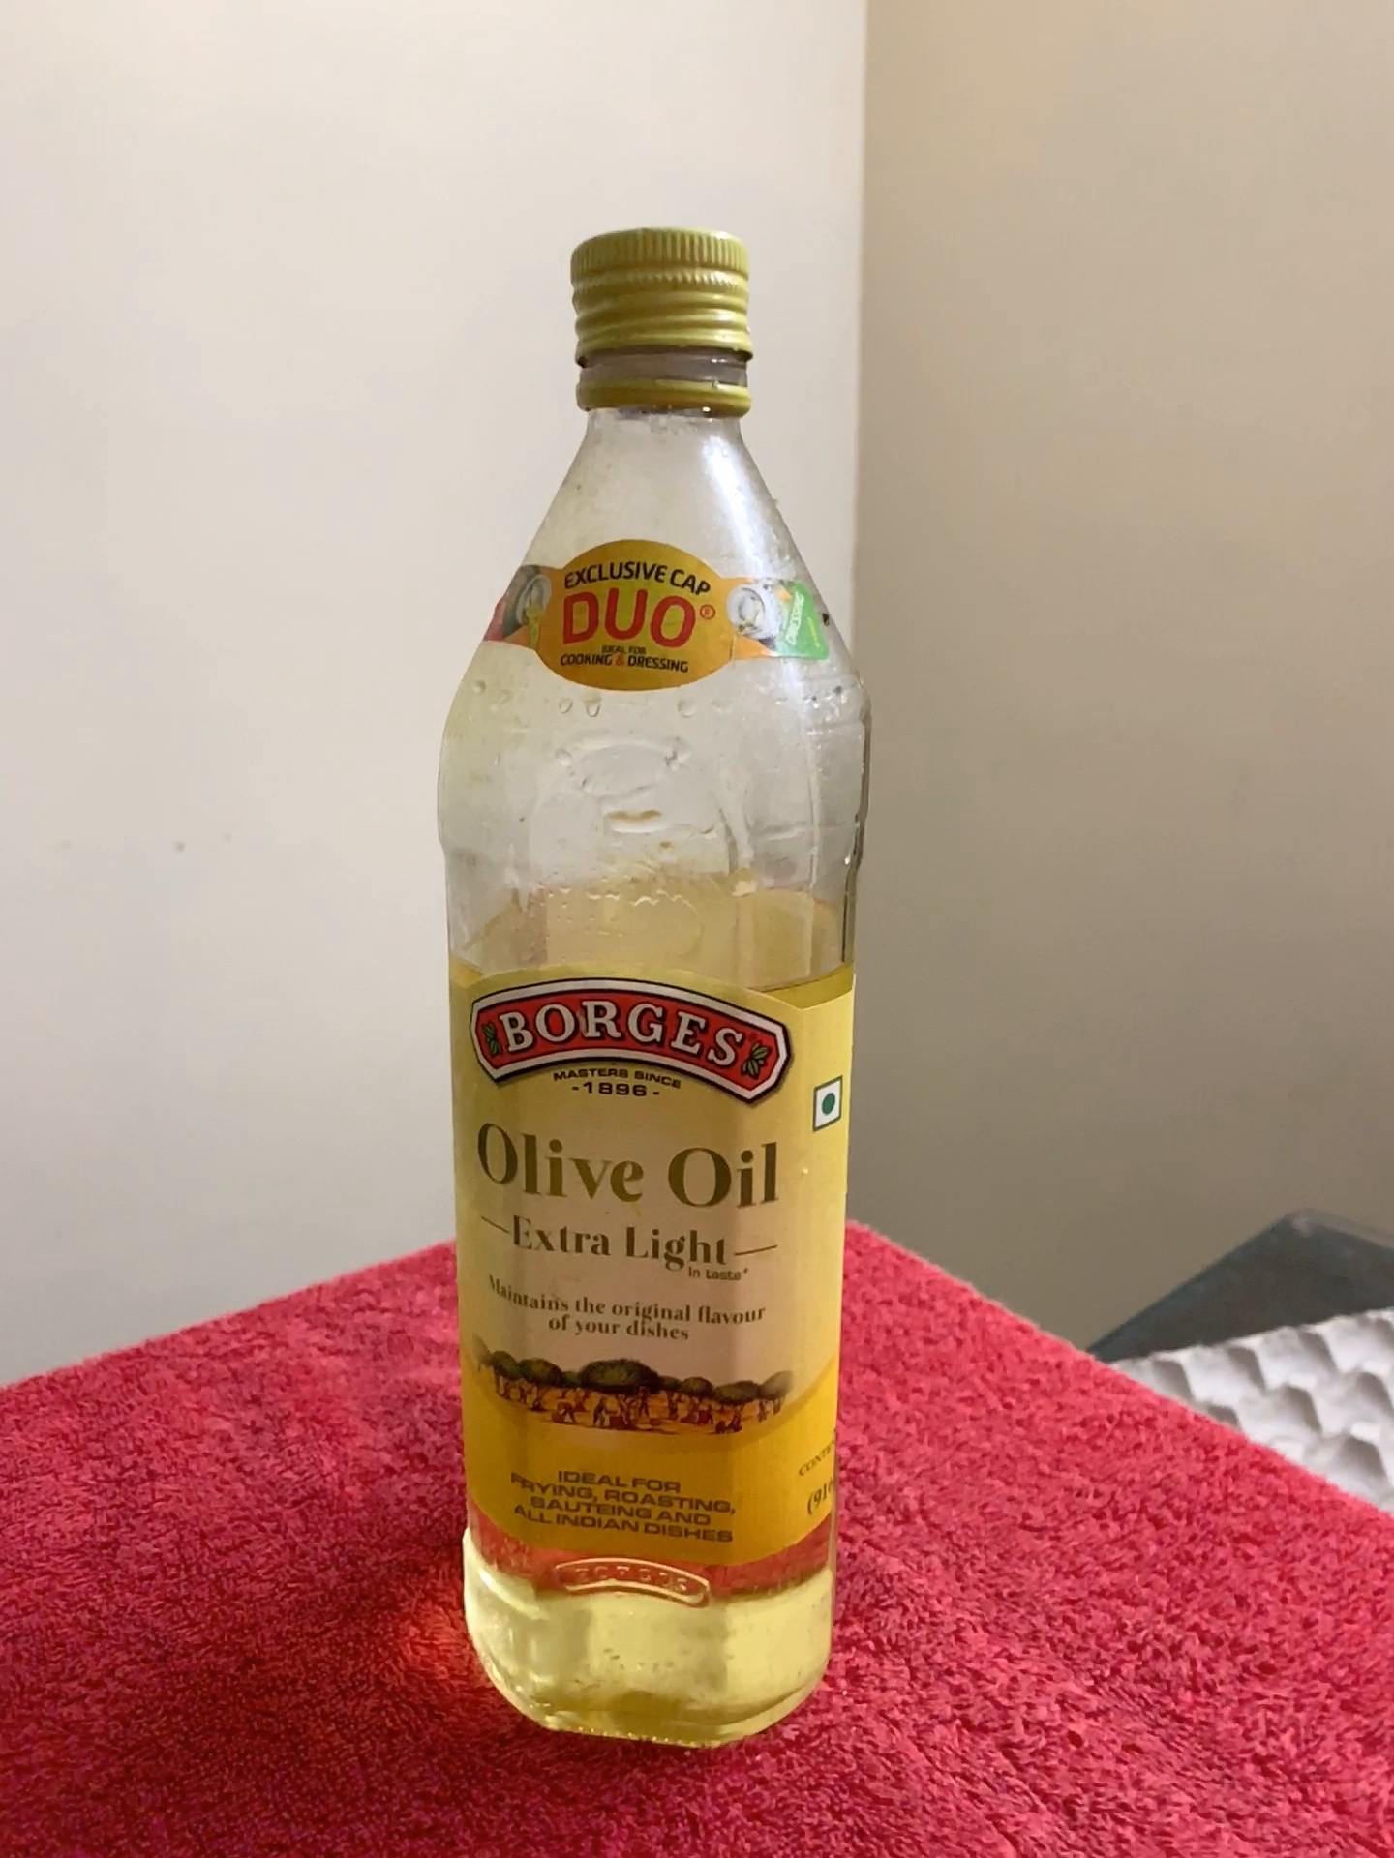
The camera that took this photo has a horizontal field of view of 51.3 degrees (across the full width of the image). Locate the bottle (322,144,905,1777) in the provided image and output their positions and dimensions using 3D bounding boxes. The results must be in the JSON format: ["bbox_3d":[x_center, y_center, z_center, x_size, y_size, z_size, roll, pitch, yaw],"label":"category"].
[{"bbox_3d":[-0.008,0.013,0.271,0.080,0.269,0.070,3,15,11],"label":"bottle"}]
